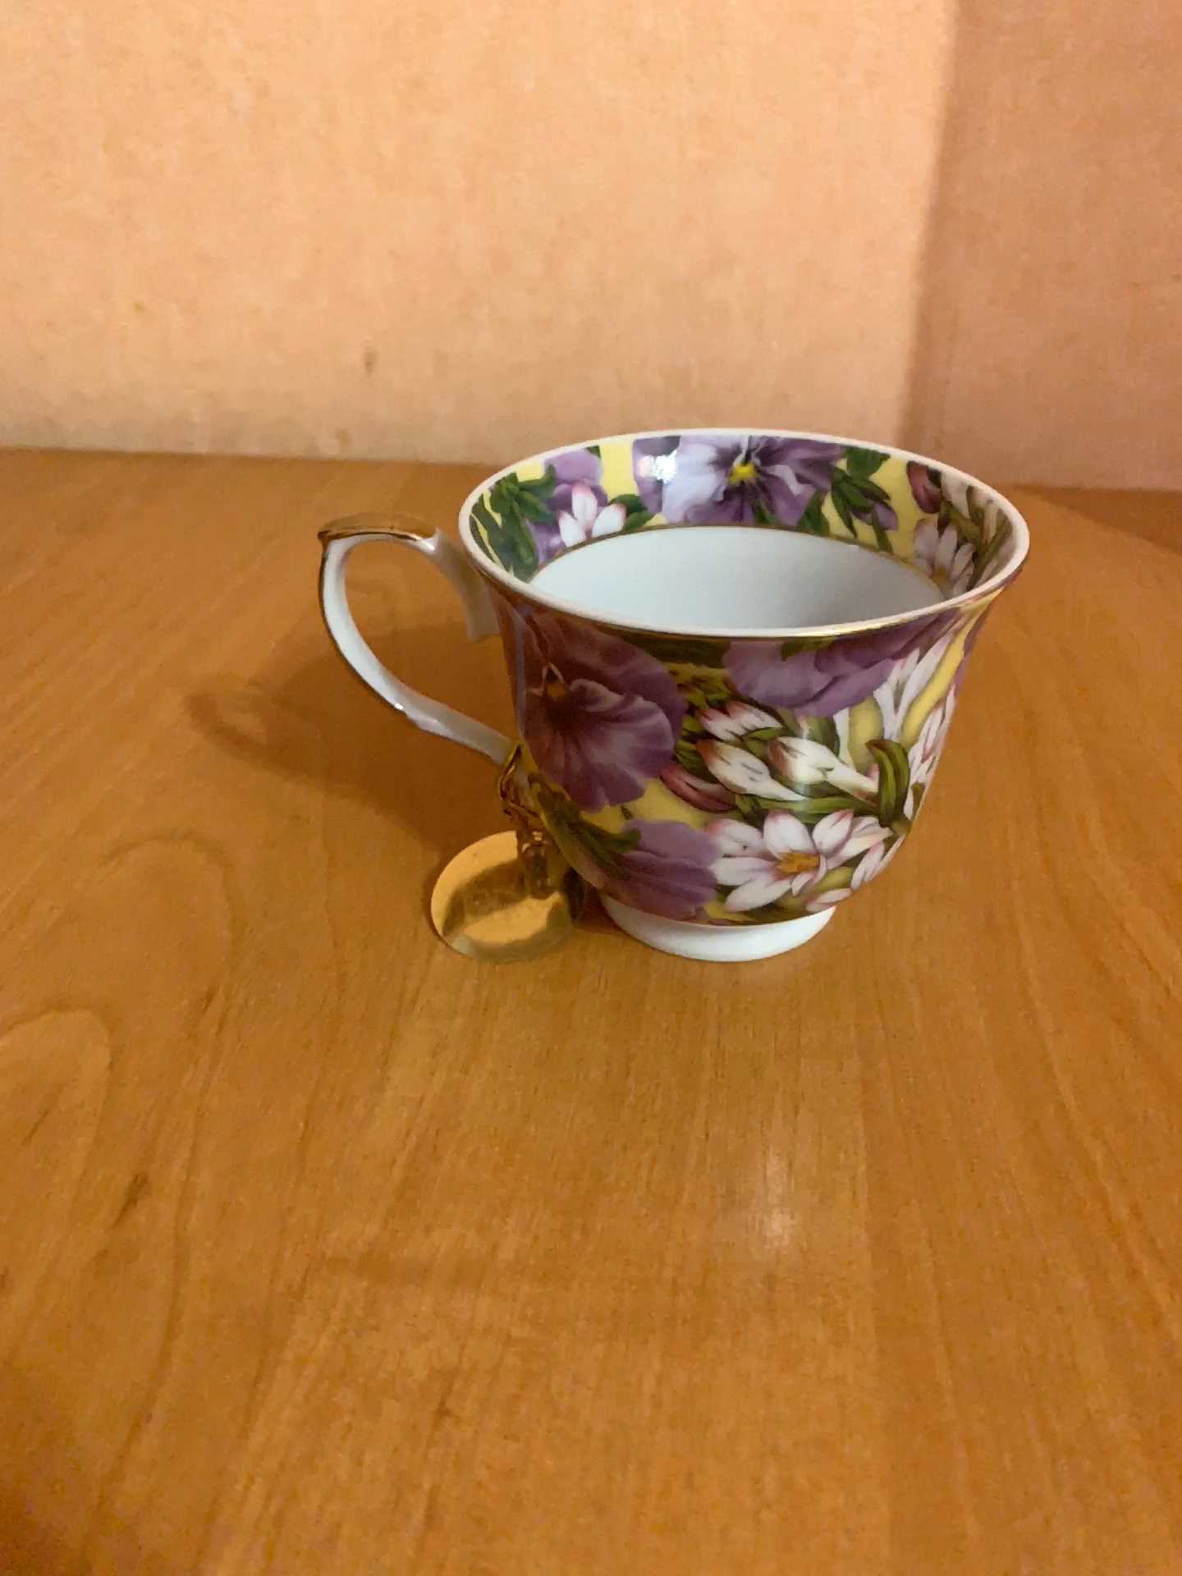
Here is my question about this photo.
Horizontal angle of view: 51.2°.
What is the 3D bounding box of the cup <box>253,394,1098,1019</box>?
[{"bbox_3d":[0.015,-0.019,0.208,0.108,0.069,0.077,5,32,9],"label":"cup"}]
